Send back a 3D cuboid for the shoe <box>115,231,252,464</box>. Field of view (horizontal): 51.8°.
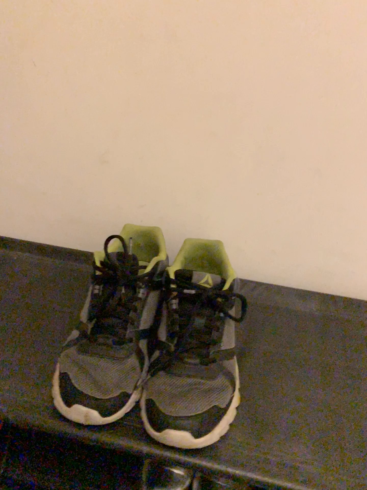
[{"bbox_3d":[0.016,0.086,0.427,0.110,0.069,0.262,8,32,5],"label":"shoe"}]

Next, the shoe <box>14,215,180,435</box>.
[{"bbox_3d":[-0.080,0.072,0.456,0.100,0.099,0.252,9,32,7],"label":"shoe"}]
